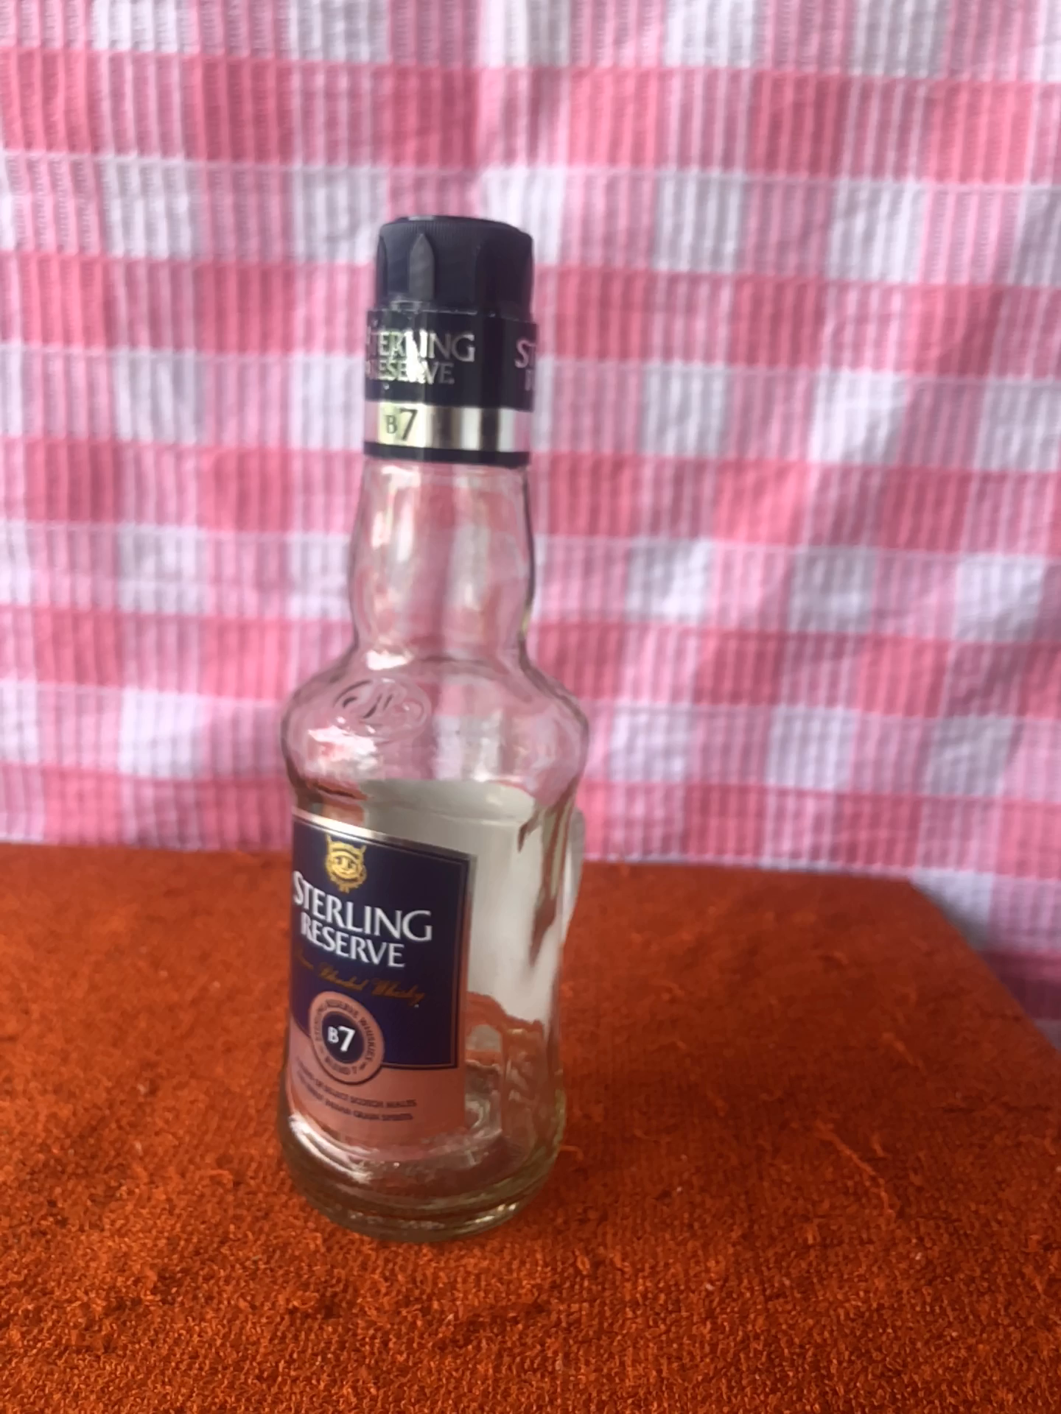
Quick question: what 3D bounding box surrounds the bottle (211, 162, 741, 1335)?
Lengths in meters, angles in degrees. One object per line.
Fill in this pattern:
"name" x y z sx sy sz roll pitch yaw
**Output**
"bottle" -0.012 0.006 0.199 0.060 0.169 0.050 13 19 25
